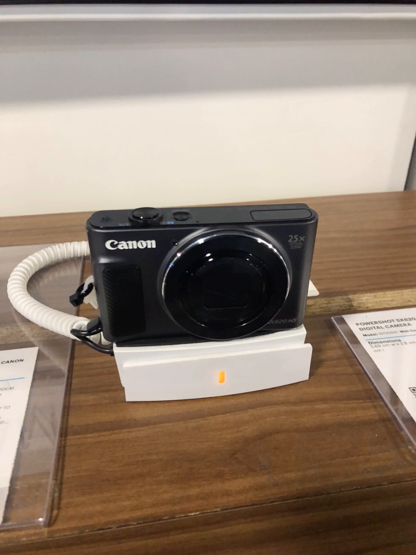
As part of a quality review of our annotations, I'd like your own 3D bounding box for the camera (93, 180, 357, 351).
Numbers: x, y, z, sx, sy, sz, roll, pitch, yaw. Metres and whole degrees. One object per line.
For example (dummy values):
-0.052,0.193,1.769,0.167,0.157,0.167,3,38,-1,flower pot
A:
0.006,-0.006,0.200,0.100,0.060,0.030,-4,29,-7,camera
